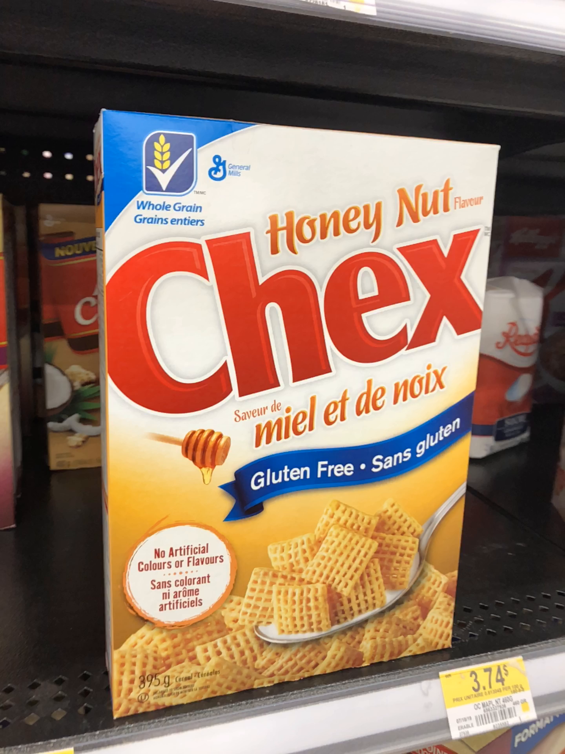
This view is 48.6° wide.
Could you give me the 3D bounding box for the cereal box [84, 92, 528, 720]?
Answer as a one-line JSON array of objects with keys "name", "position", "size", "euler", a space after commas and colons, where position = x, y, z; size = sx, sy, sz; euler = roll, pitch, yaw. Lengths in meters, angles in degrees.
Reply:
[{"name": "cereal box", "position": [0.010, 0.017, 0.328], "size": [0.210, 0.279, 0.050], "euler": [-2, 12, -19]}]
